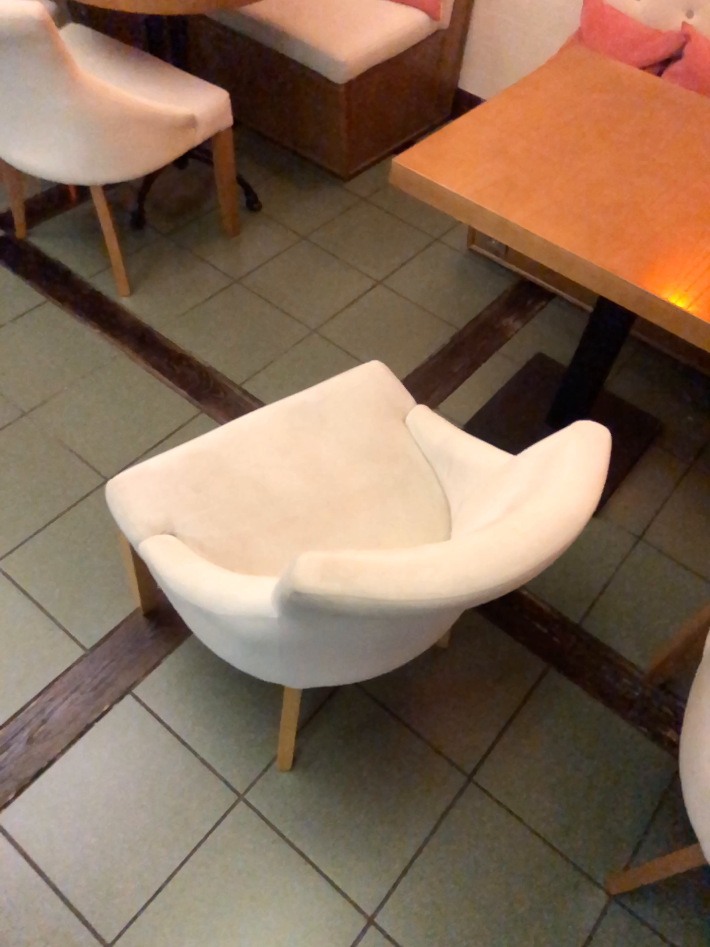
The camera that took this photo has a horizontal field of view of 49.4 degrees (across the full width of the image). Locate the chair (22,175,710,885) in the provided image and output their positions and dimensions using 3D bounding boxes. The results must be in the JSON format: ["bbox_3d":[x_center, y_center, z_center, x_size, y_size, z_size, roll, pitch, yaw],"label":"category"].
[{"bbox_3d":[-0.009,0.096,1.264,0.631,0.737,0.662,-28,60,-25],"label":"chair"}]
